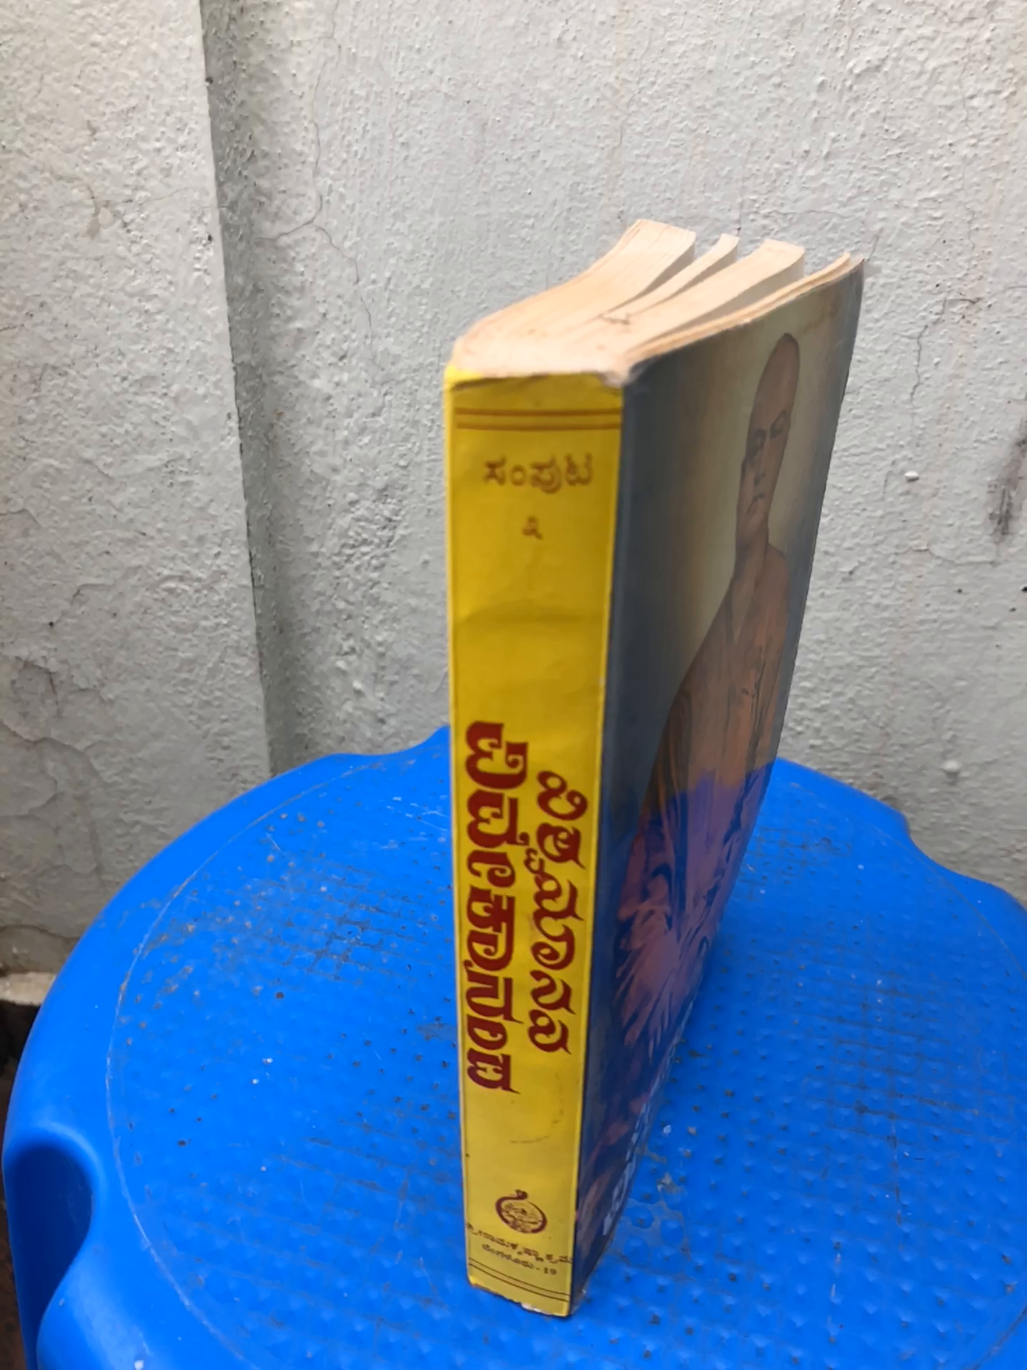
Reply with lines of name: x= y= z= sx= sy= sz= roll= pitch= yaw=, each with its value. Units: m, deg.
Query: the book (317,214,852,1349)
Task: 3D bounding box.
book: x=0.032 y=0.004 z=0.278 sx=0.050 sy=0.199 sz=0.191 roll=10 pitch=30 yaw=19
